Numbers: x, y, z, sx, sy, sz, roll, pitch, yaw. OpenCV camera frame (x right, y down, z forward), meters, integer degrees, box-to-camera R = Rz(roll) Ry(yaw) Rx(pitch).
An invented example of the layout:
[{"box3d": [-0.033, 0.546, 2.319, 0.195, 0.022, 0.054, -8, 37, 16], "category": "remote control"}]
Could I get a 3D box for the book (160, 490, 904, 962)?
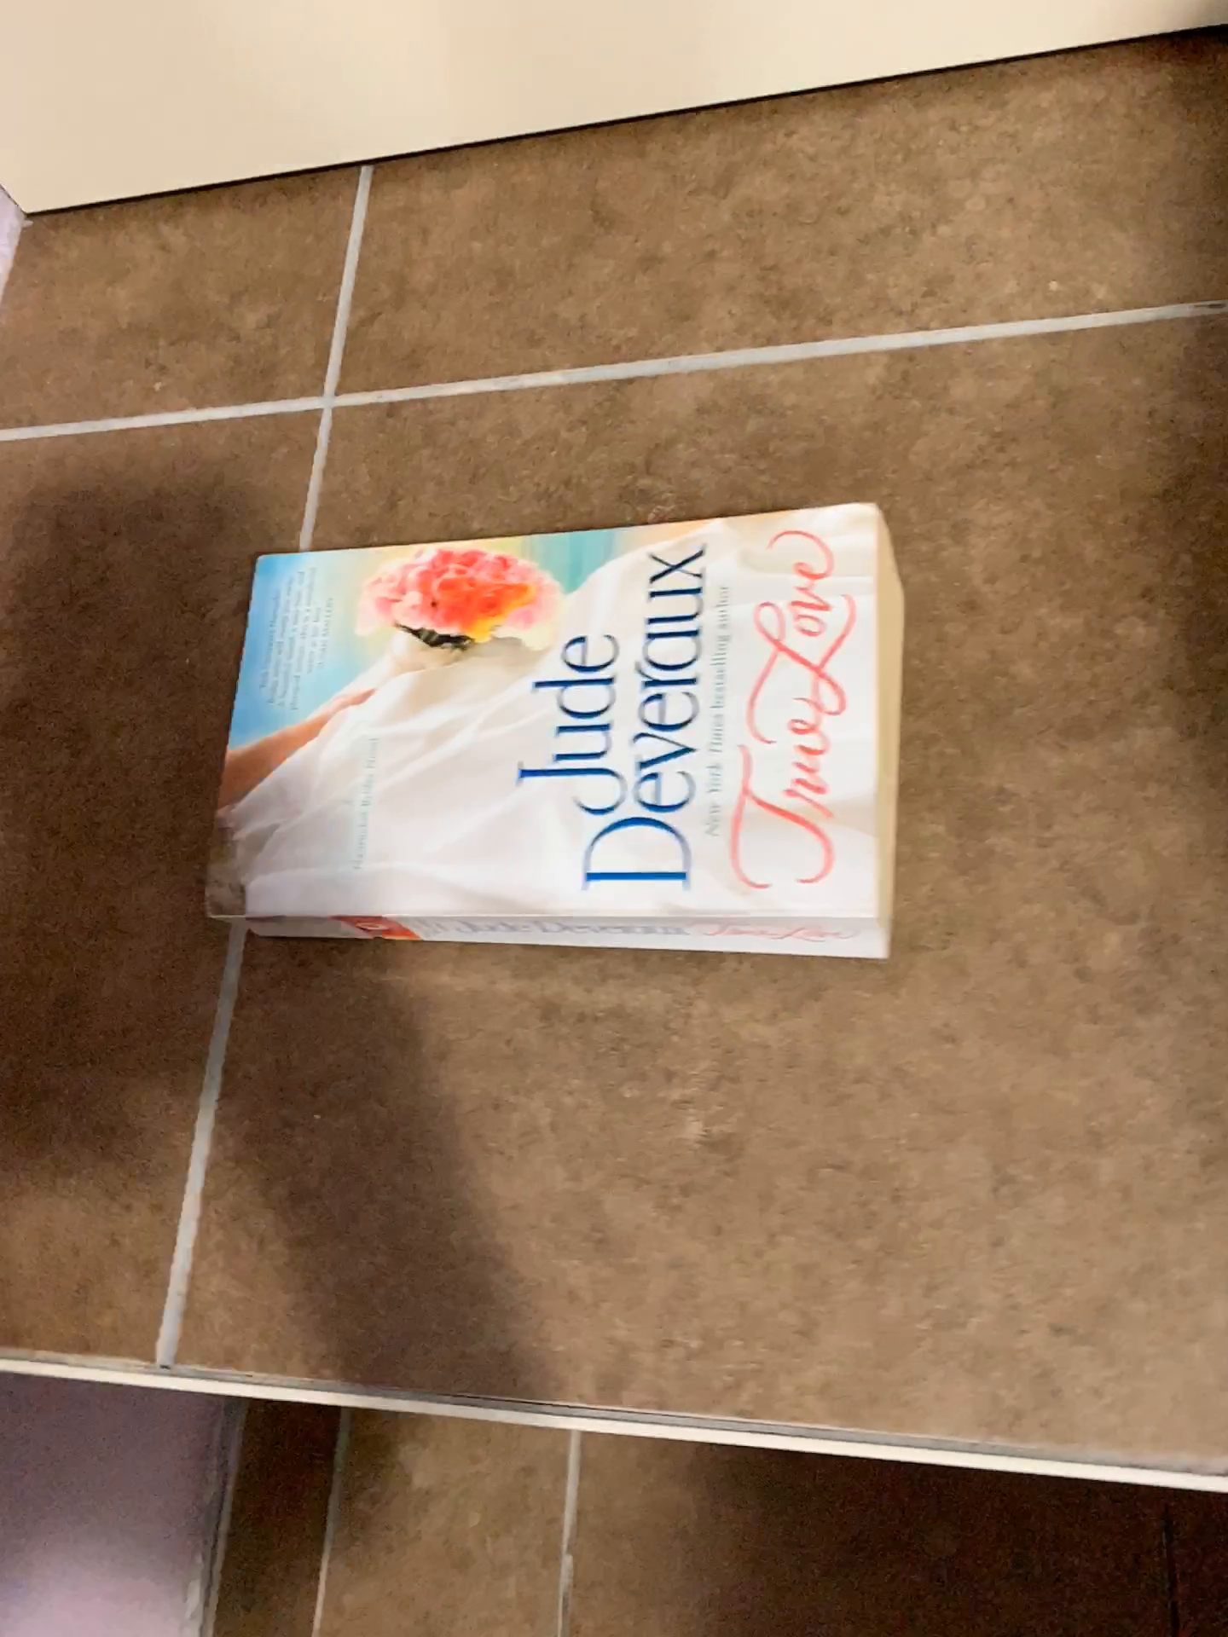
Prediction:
[{"box3d": [-0.017, -0.023, 0.333, 0.179, 0.047, 0.106, 1, 71, 15], "category": "book"}]
